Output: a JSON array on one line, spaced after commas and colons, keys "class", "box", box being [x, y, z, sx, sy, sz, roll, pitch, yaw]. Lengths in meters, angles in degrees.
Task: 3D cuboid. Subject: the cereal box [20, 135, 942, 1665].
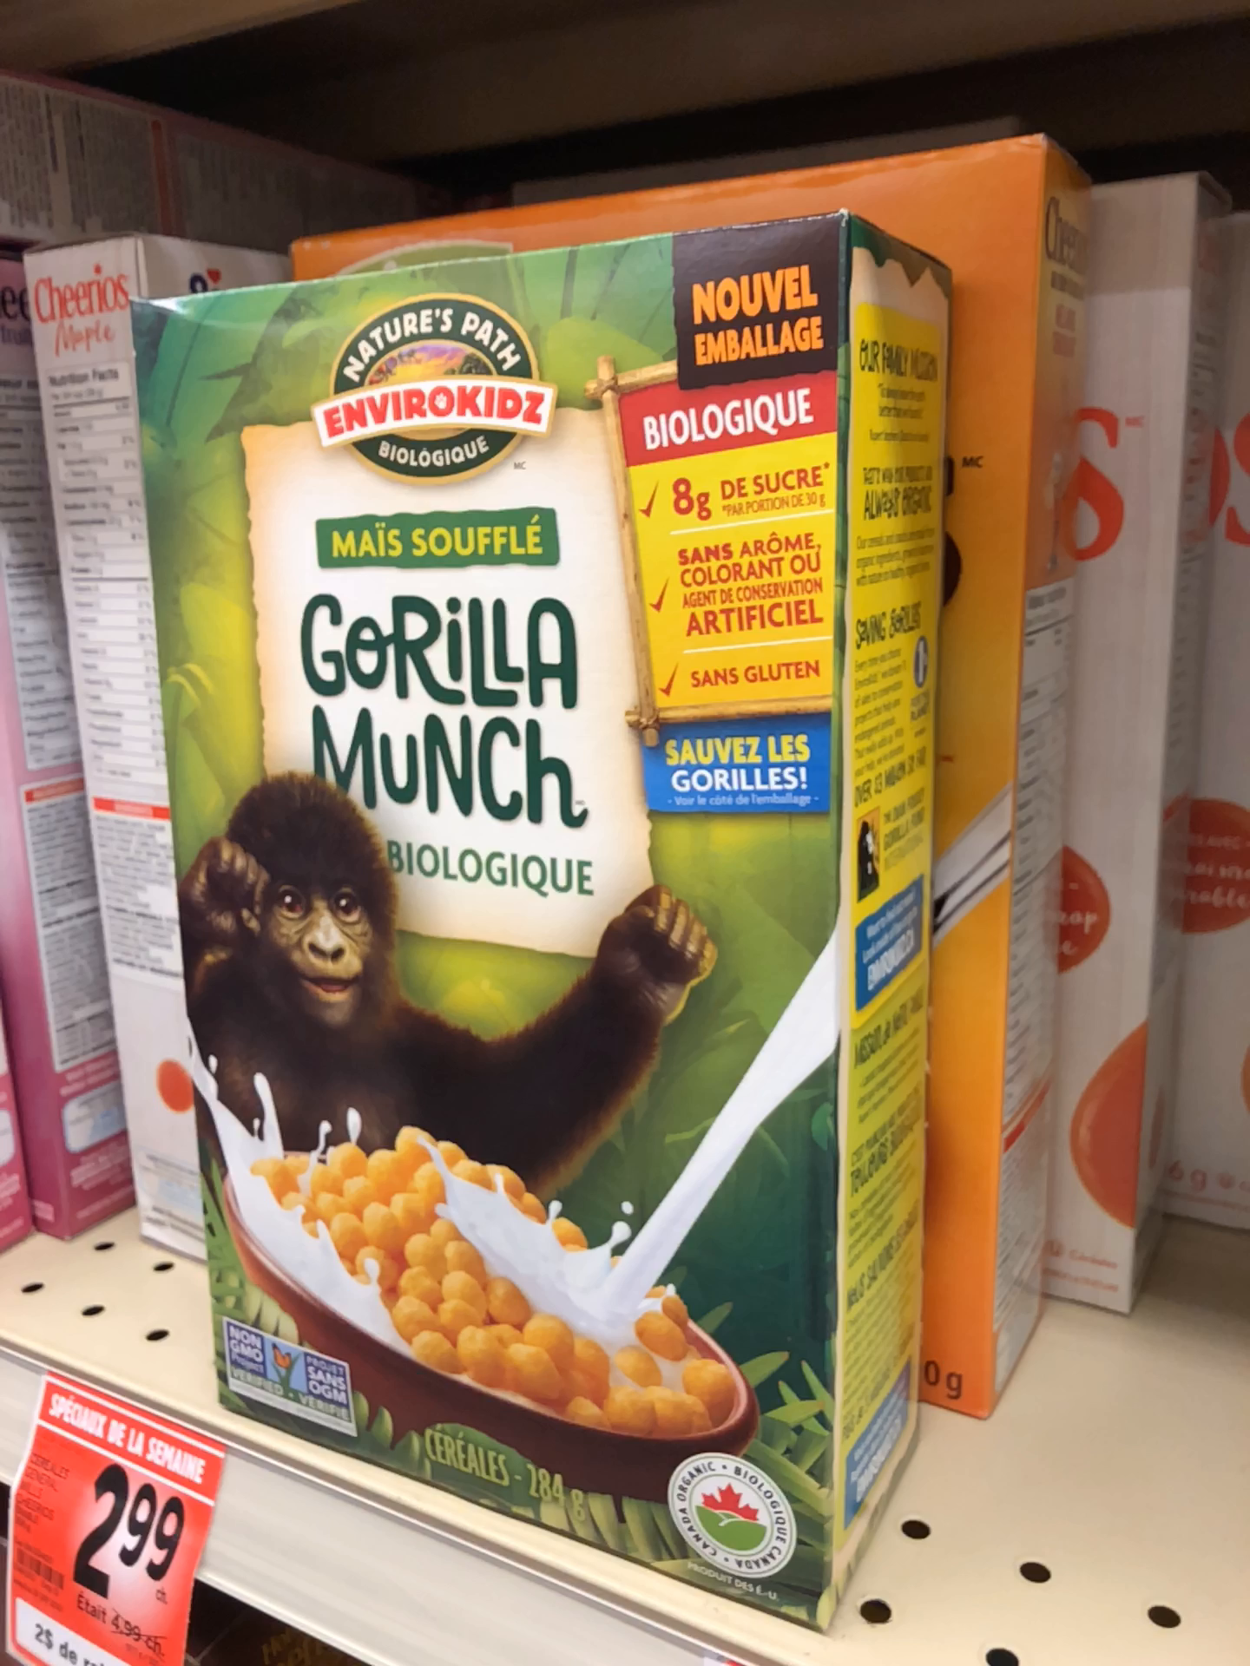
[{"class": "cereal box", "box": [-0.025, 0.017, 0.282, 0.160, 0.259, 0.060, 5, 15, 28]}]
